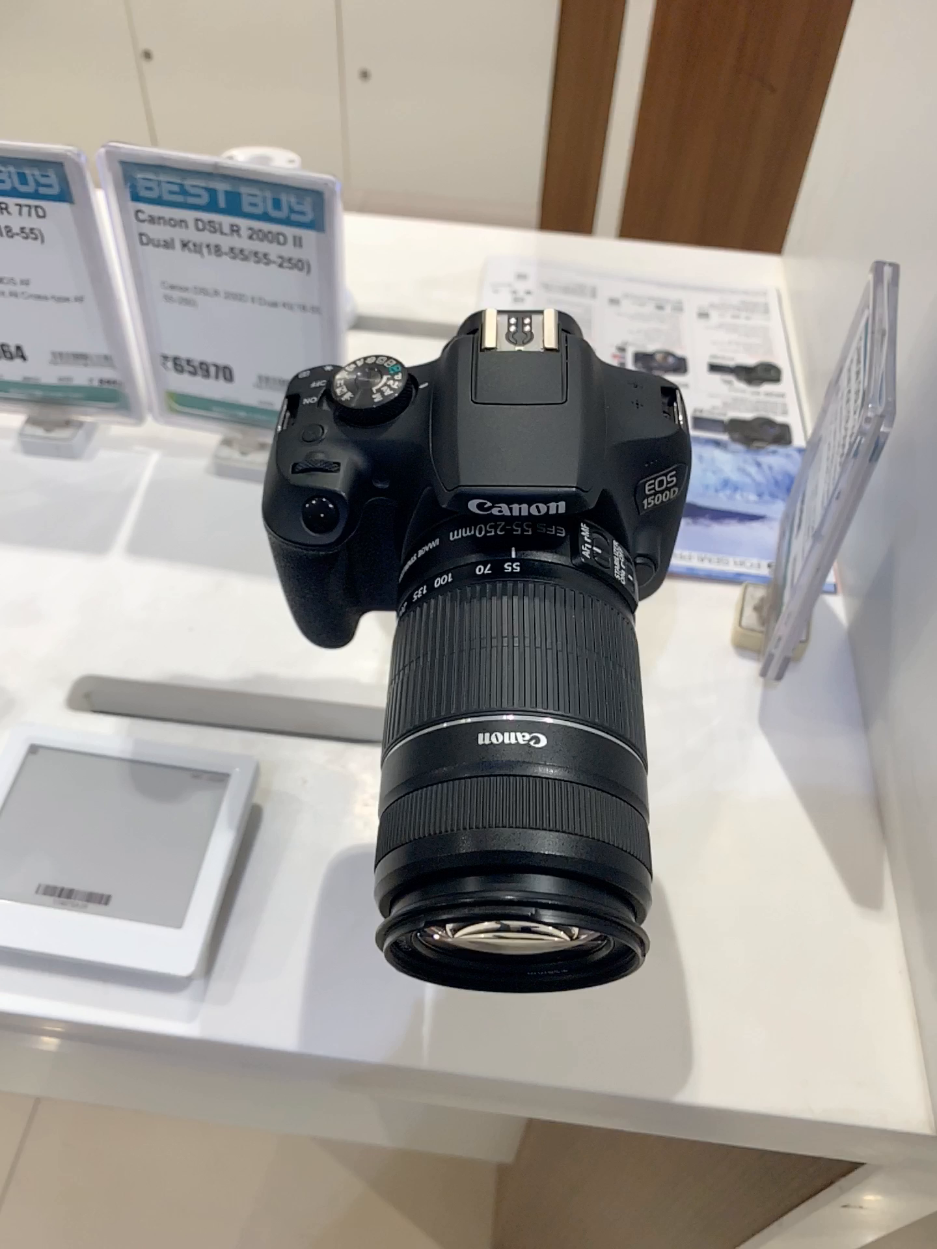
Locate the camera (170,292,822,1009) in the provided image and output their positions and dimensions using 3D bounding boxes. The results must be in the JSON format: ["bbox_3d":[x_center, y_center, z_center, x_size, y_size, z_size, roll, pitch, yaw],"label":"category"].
[{"bbox_3d":[0.004,0.005,0.257,0.117,0.090,0.164,1,57,-2],"label":"camera"}]
